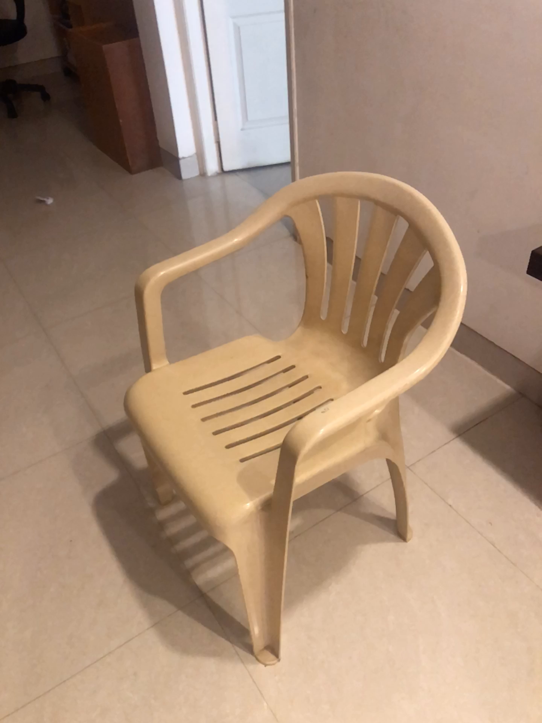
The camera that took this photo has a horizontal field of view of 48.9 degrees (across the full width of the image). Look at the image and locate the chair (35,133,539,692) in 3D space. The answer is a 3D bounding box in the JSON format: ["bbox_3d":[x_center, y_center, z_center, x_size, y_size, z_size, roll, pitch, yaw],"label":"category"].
[{"bbox_3d":[0.022,0.078,1.207,0.591,0.774,0.573,-26,44,-23],"label":"chair"}]
